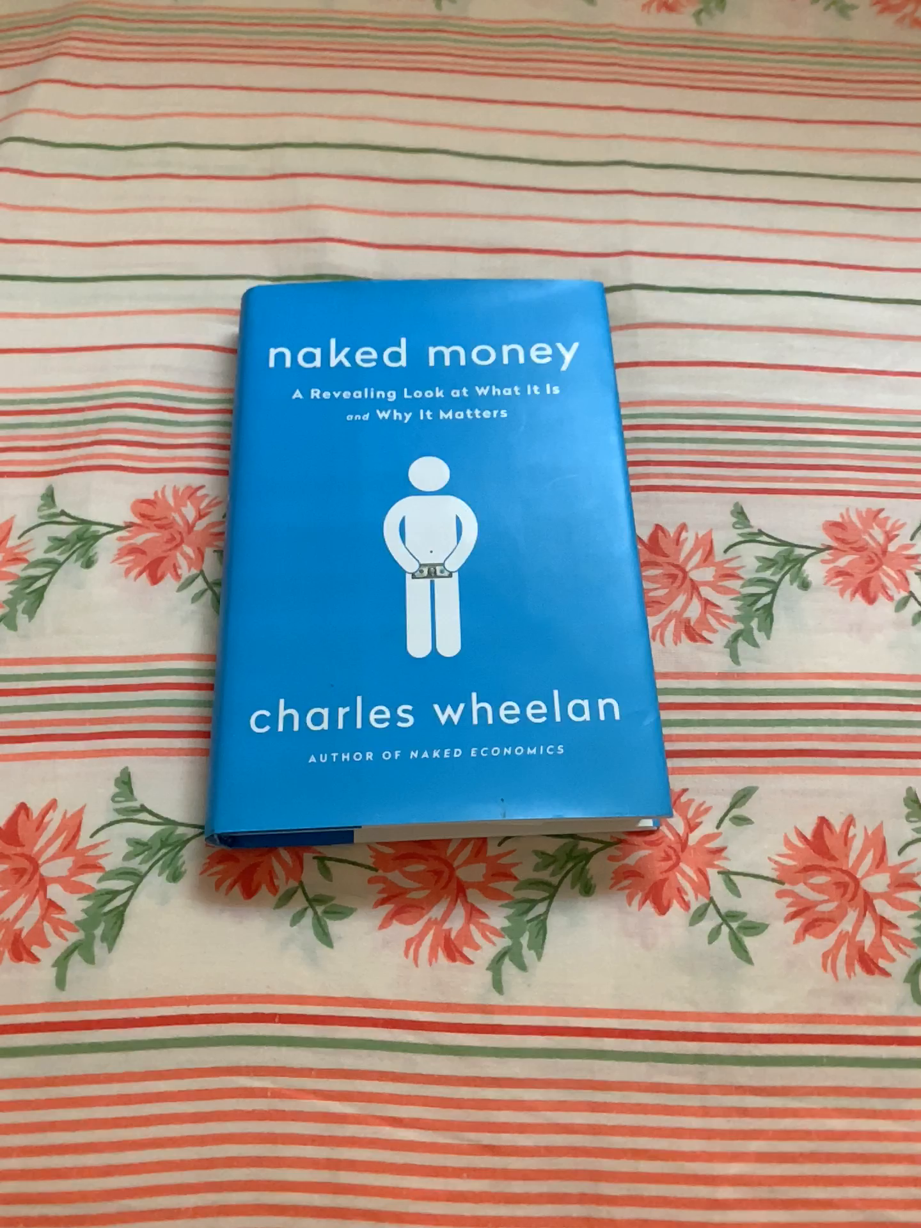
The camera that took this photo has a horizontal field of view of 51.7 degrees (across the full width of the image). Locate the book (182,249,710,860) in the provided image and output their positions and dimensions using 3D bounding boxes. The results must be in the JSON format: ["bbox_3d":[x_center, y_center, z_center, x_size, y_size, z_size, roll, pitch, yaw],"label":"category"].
[{"bbox_3d":[-0.010,-0.037,0.378,0.170,0.040,0.251,-1,65,-4],"label":"book"}]
